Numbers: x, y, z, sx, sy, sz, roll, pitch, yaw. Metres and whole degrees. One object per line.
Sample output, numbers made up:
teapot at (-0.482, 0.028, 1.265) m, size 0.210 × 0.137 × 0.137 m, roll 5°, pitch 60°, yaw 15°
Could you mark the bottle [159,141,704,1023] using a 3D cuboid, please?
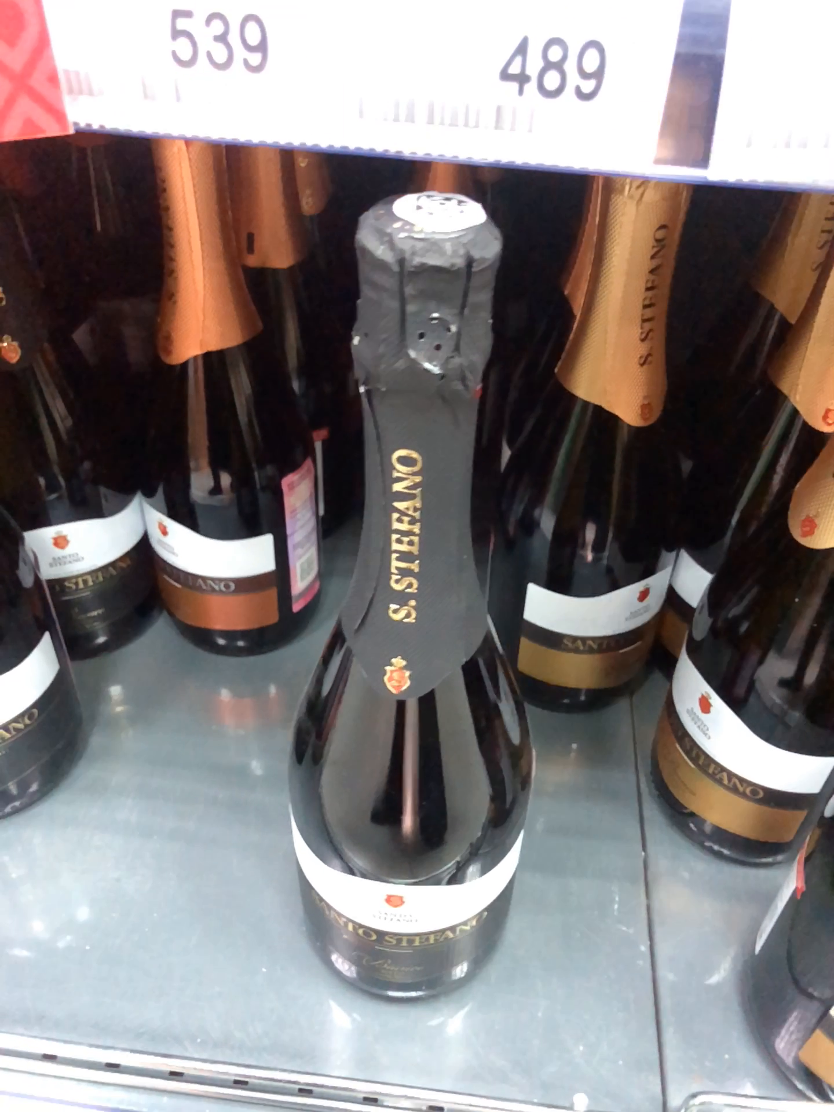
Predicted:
bottle at (0.001, 0.035, 0.296) m, size 0.100 × 0.288 × 0.091 m, roll 5°, pitch 40°, yaw 3°
